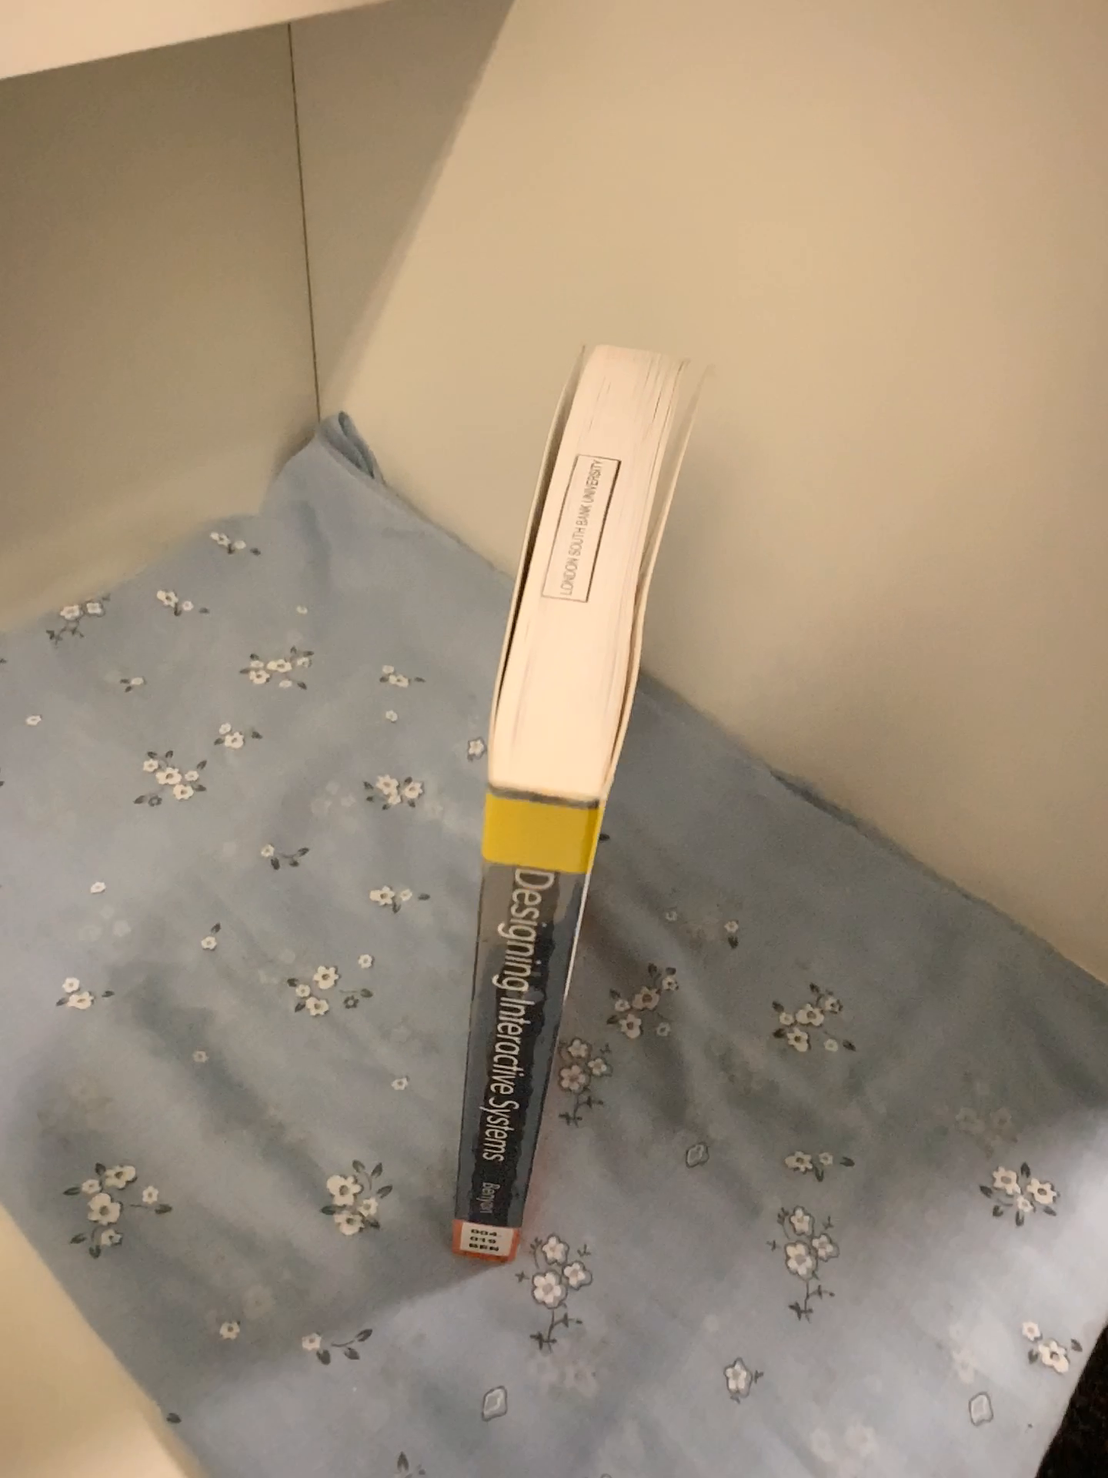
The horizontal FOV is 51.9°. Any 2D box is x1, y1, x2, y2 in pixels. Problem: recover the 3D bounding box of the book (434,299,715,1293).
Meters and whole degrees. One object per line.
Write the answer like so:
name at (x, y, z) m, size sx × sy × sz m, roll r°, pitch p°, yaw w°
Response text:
book at (0.005, 0.028, 0.394) m, size 0.040 × 0.269 × 0.217 m, roll 10°, pitch 45°, yaw 1°
